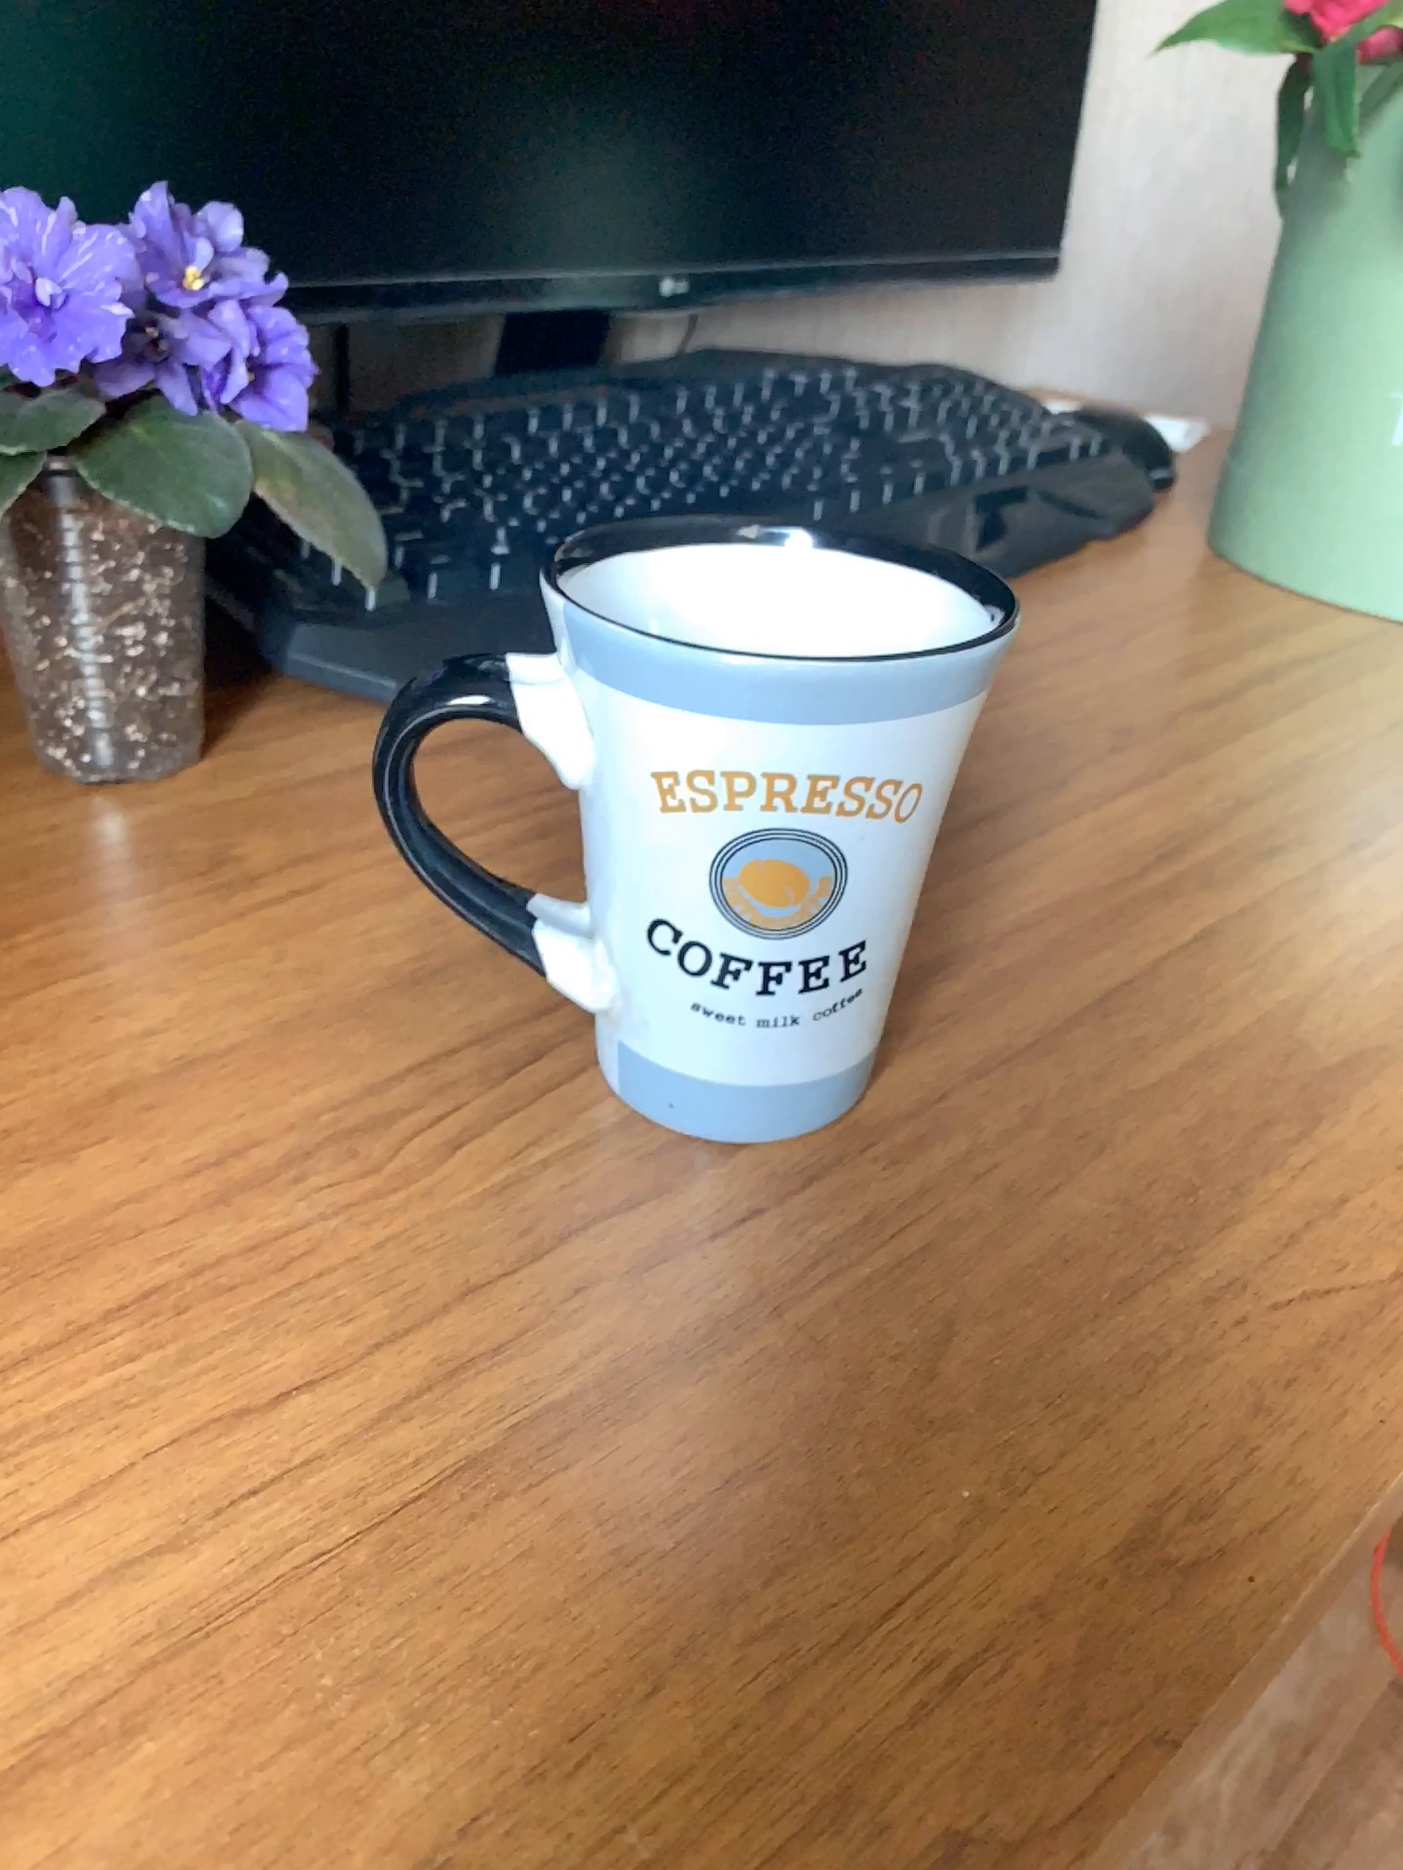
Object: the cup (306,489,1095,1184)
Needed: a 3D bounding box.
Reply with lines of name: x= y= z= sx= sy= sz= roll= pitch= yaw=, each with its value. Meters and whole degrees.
cup: x=-0.003 y=-0.018 z=0.258 sx=0.110 sy=0.100 sz=0.070 roll=1 pitch=29 yaw=-4
